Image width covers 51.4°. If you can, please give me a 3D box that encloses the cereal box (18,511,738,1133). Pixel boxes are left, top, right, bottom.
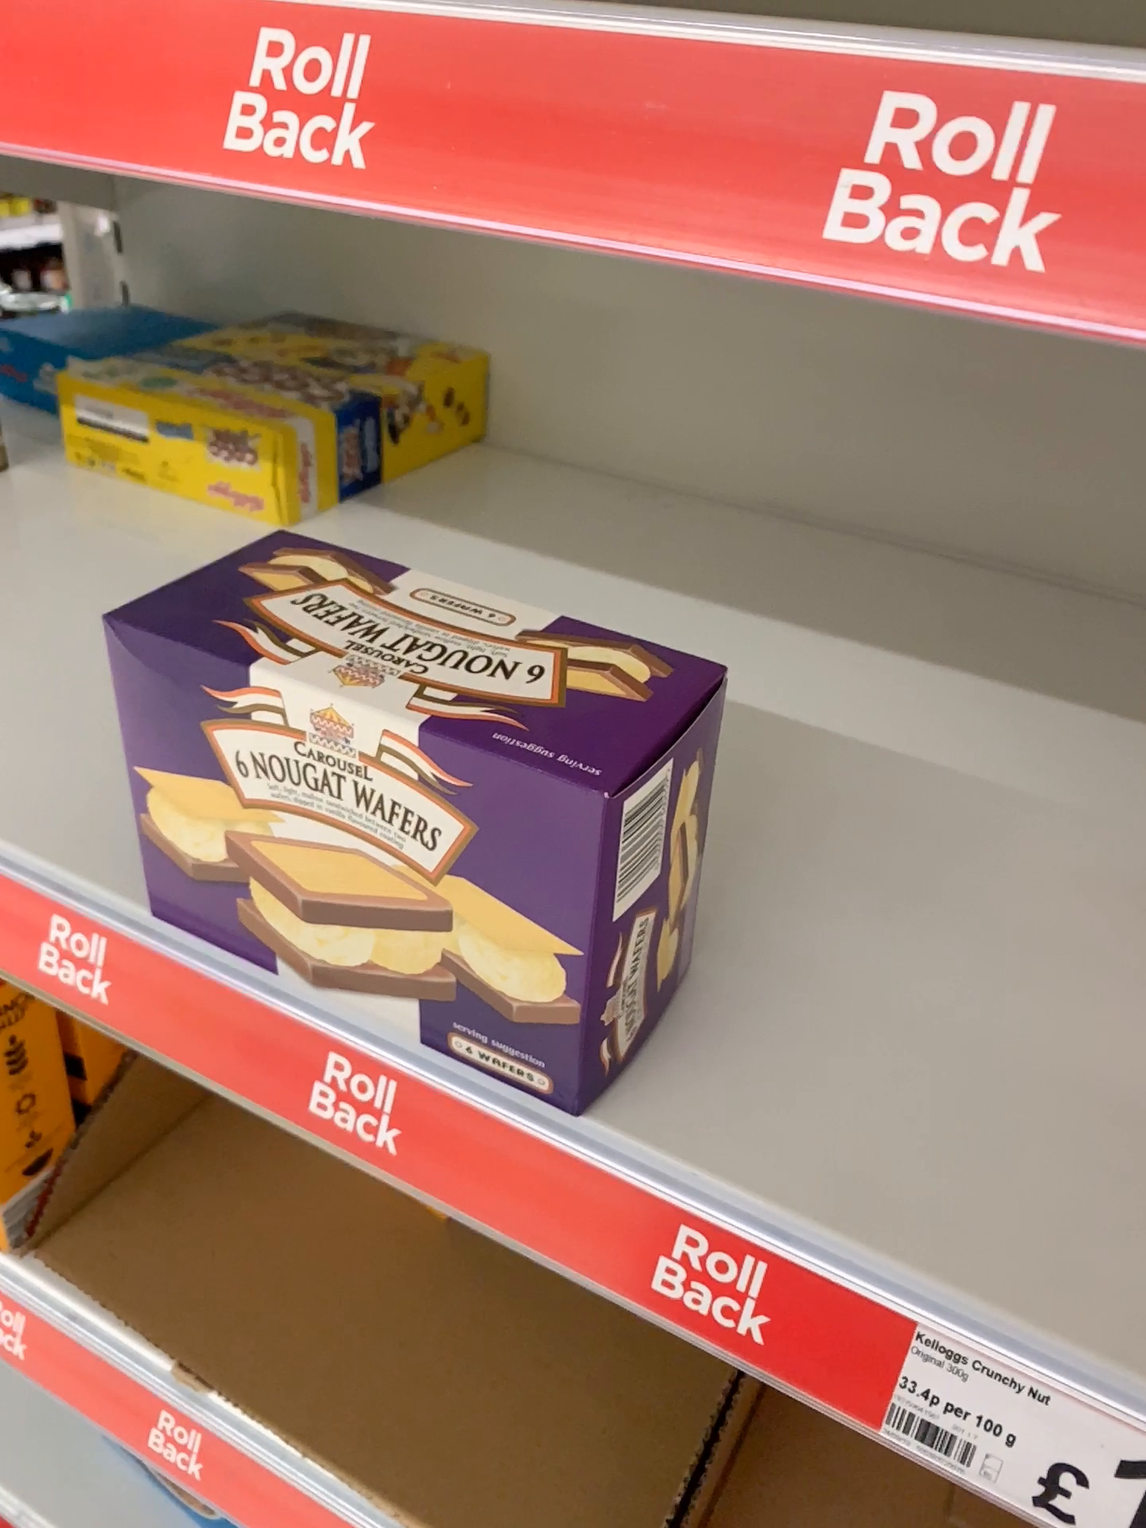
[{"bbox_3d":[-0.061,0.008,0.376,0.190,0.109,0.091,20,36,22],"label":"cereal box"}]
